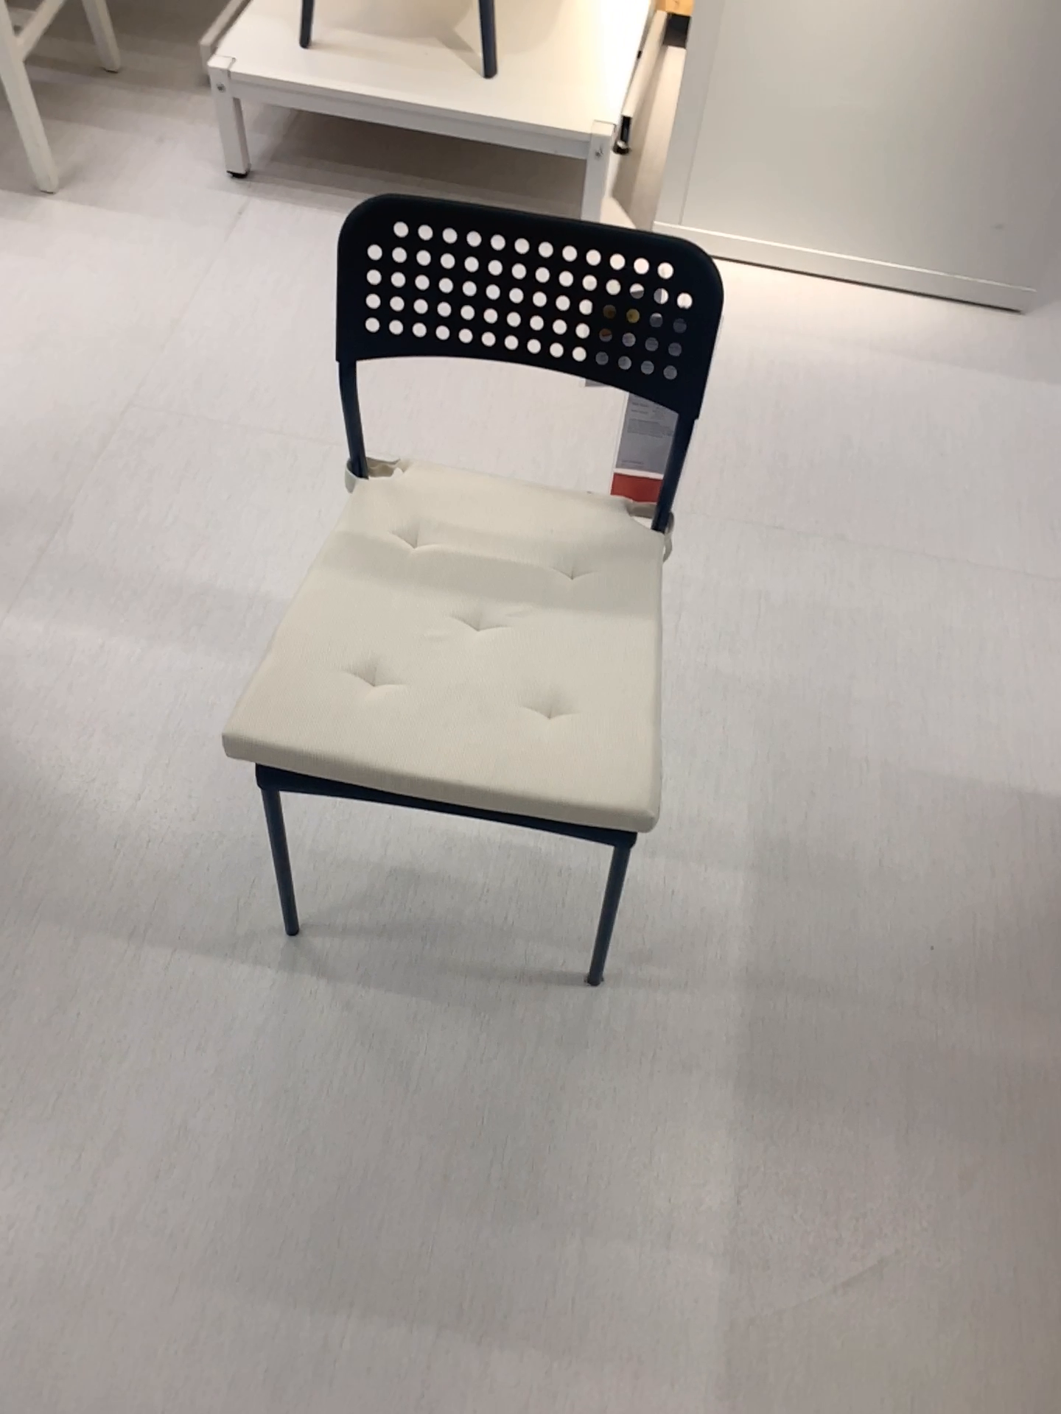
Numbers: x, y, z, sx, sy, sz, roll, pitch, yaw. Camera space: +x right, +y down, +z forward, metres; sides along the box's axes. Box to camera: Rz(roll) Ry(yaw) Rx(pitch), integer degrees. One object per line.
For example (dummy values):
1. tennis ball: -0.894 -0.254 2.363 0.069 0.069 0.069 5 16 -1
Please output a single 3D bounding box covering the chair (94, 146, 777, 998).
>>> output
1. chair: -0.060 -0.077 1.180 0.450 0.758 0.491 10 57 2
